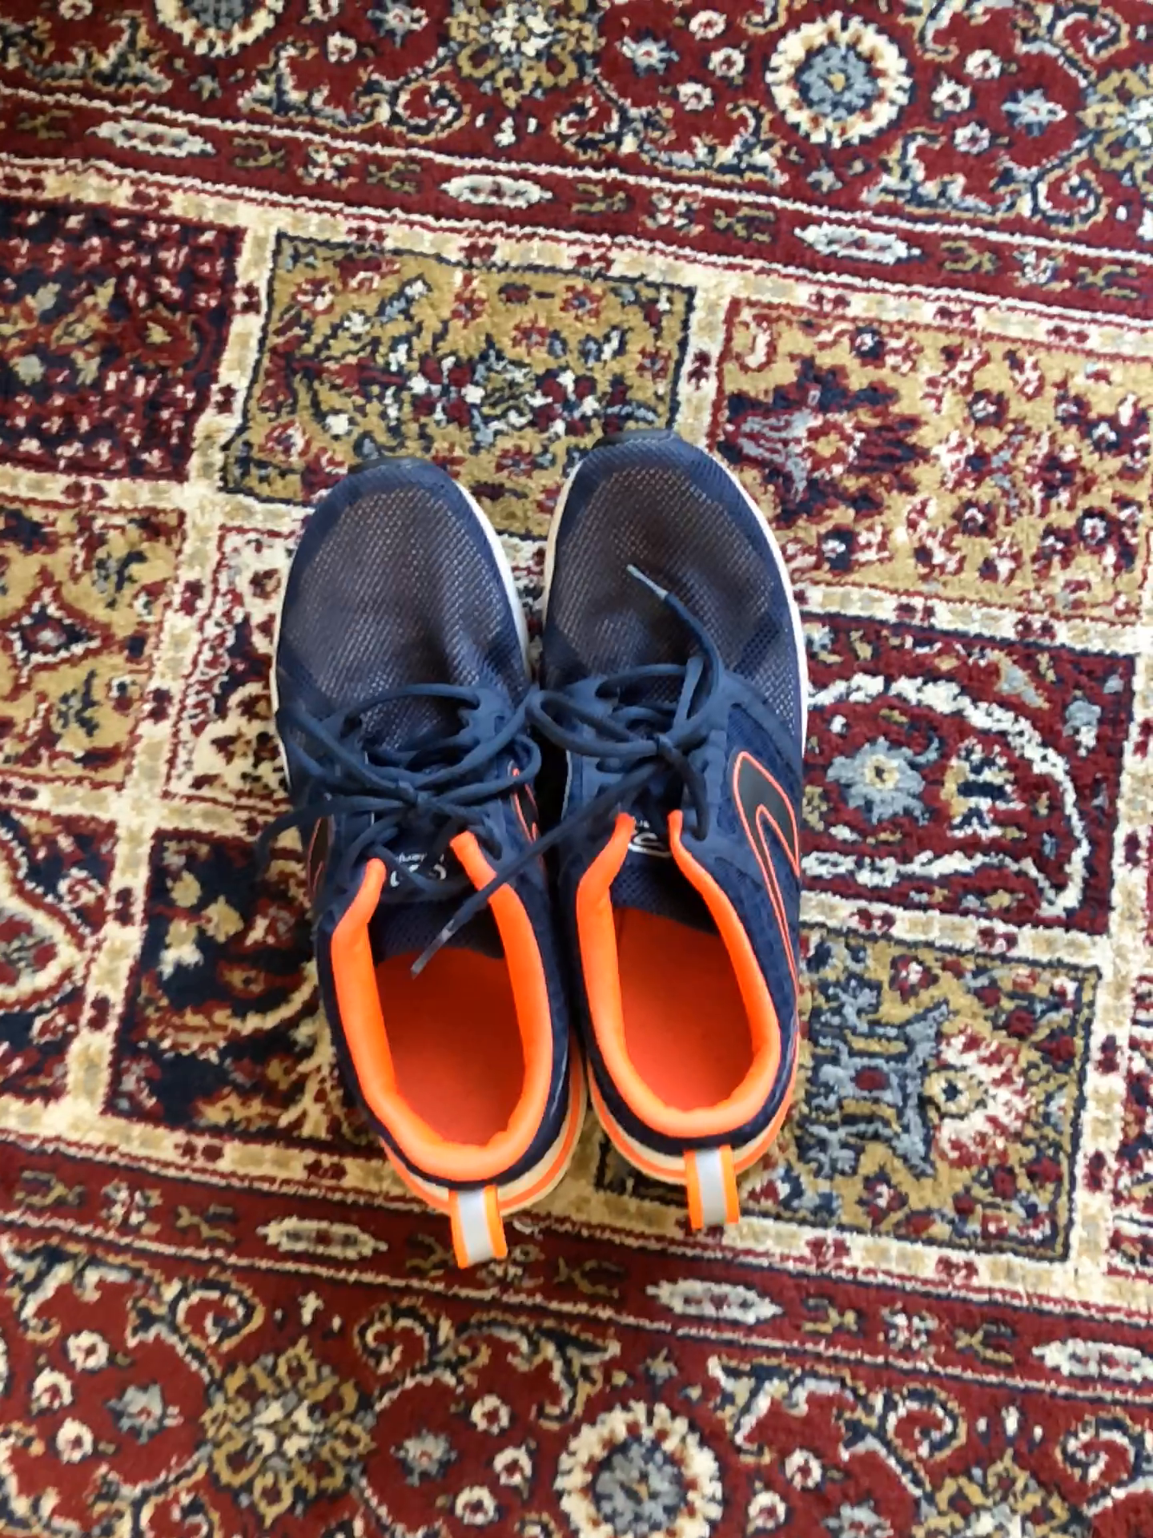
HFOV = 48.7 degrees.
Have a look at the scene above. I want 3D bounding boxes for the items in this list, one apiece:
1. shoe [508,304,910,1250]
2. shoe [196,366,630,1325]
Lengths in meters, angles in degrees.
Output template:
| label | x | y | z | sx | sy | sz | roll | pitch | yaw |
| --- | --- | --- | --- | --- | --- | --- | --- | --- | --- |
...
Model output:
| label | x | y | z | sx | sy | sz | roll | pitch | yaw |
| --- | --- | --- | --- | --- | --- | --- | --- | --- | --- |
| shoe | 0.046 | 0.004 | 0.516 | 0.120 | 0.130 | 0.330 | -3 | 83 | 2 |
| shoe | -0.059 | 0.028 | 0.520 | 0.120 | 0.130 | 0.330 | -7 | 83 | 2 |
